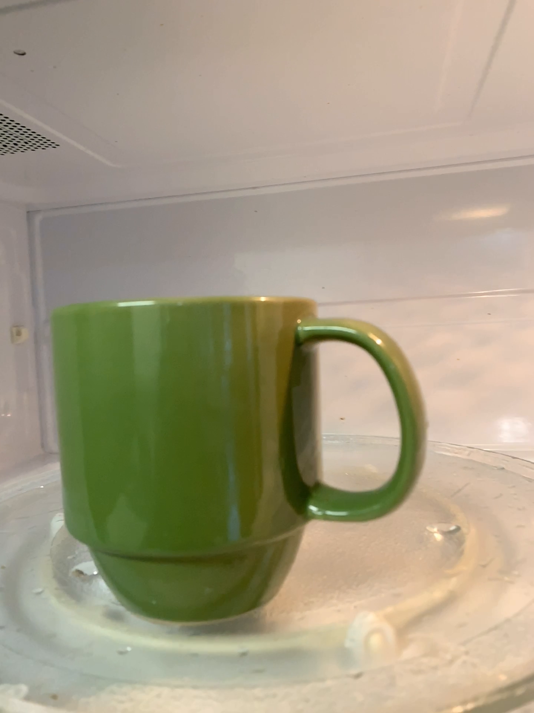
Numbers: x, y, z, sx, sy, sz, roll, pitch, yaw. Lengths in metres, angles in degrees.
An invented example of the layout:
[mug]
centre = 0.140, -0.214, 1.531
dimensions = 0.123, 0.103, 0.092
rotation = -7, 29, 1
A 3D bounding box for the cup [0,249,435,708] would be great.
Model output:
[cup]
centre = -0.022, 0.023, 0.169
dimensions = 0.130, 0.090, 0.080
rotation = -2, 3, 24
